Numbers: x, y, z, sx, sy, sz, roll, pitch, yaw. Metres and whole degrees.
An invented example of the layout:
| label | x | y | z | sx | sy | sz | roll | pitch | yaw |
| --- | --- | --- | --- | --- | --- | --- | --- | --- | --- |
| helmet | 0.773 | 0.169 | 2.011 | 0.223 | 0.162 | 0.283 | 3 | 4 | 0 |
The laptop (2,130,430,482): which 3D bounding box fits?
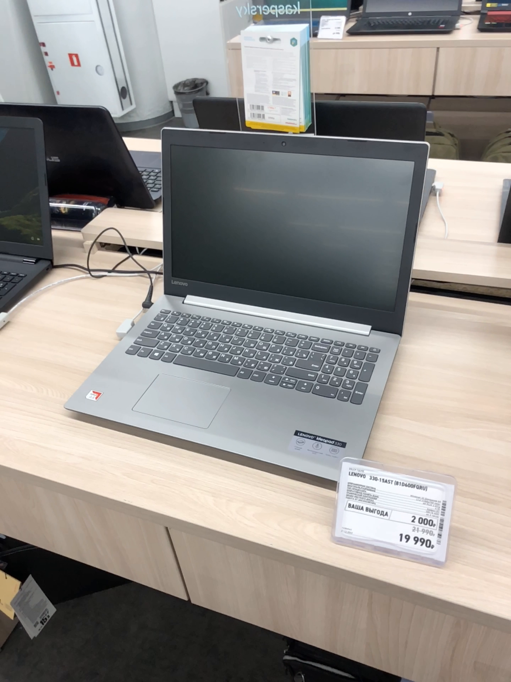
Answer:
| label | x | y | z | sx | sy | sz | roll | pitch | yaw |
| --- | --- | --- | --- | --- | --- | --- | --- | --- | --- |
| laptop | -0.014 | -0.081 | 0.712 | 0.380 | 0.235 | 0.345 | 11 | 41 | 20 |
